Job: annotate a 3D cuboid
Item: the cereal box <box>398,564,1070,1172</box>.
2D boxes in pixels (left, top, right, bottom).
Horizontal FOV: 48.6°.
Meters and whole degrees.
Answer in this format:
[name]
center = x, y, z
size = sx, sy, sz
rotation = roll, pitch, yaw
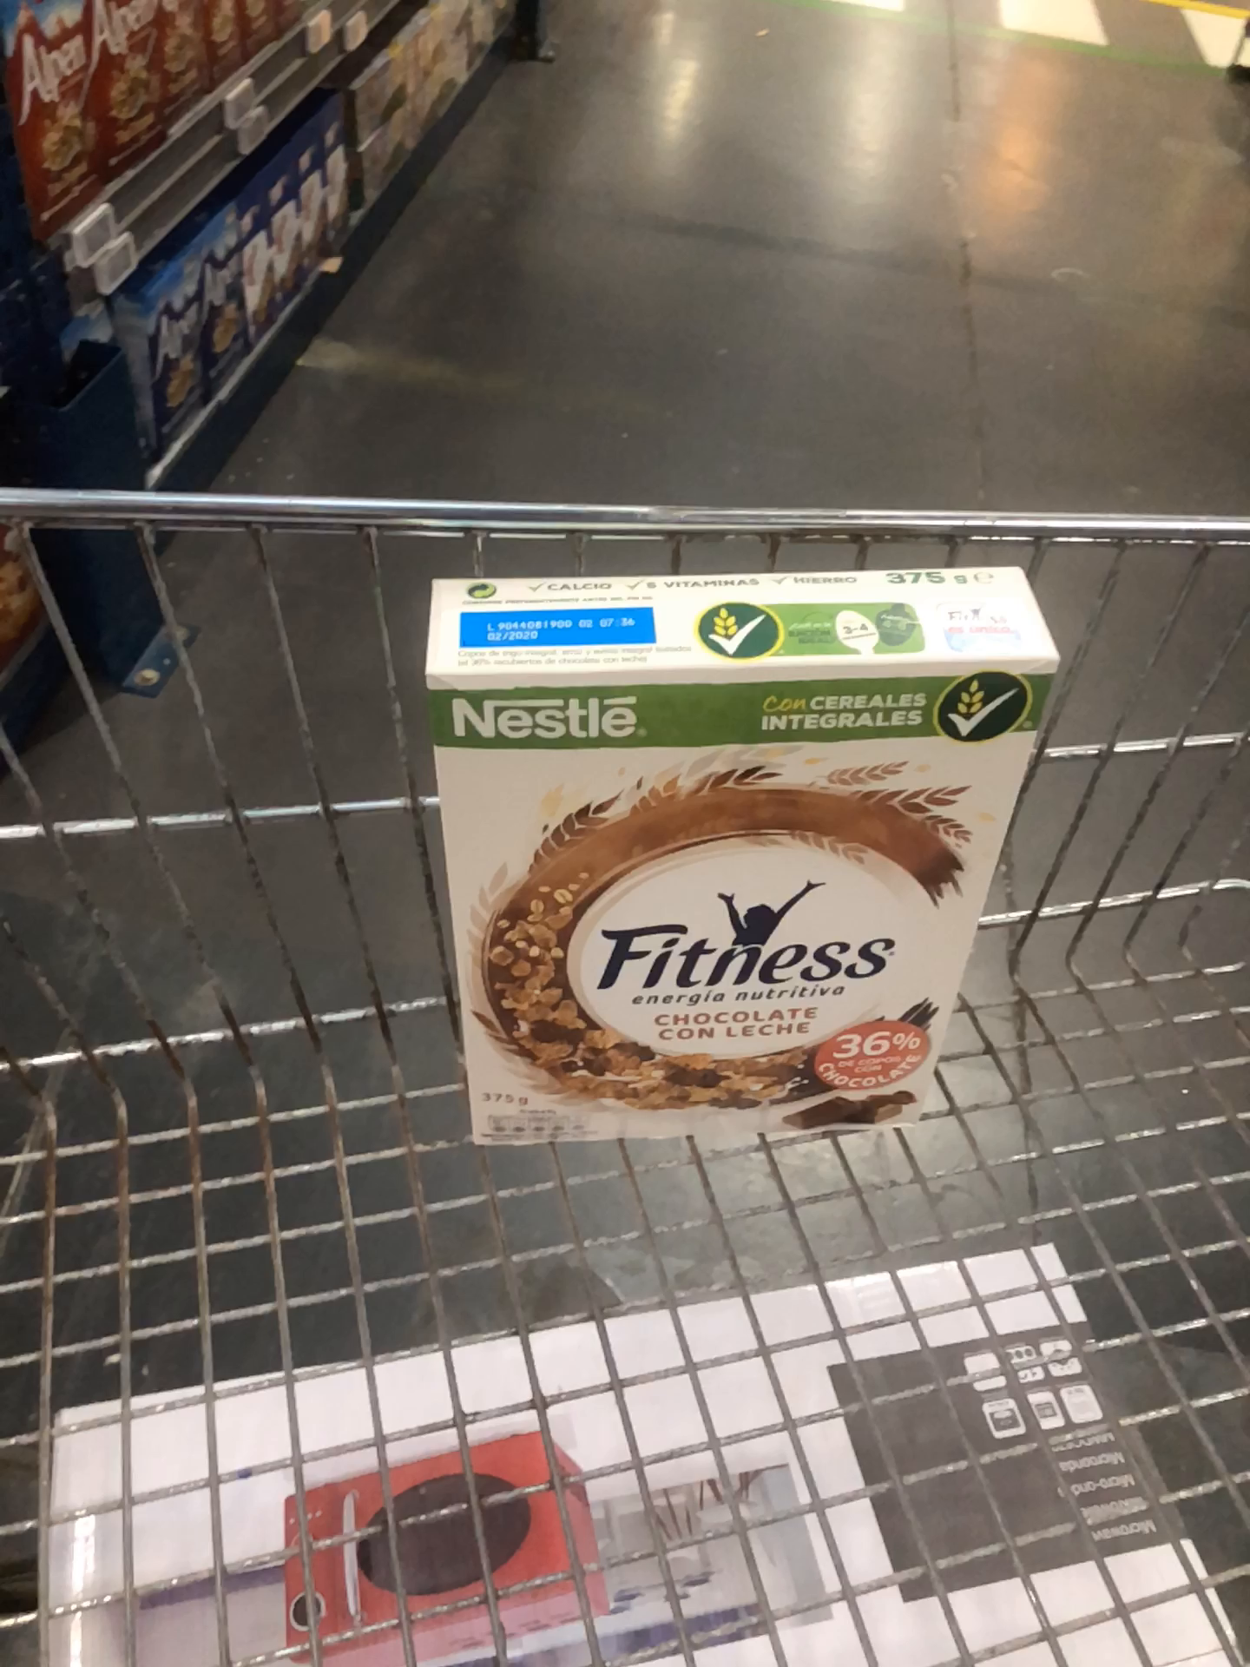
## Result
[cereal box]
center = 0.028, 0.027, 0.521
size = 0.200, 0.259, 0.060
rotation = -2, 45, -4
